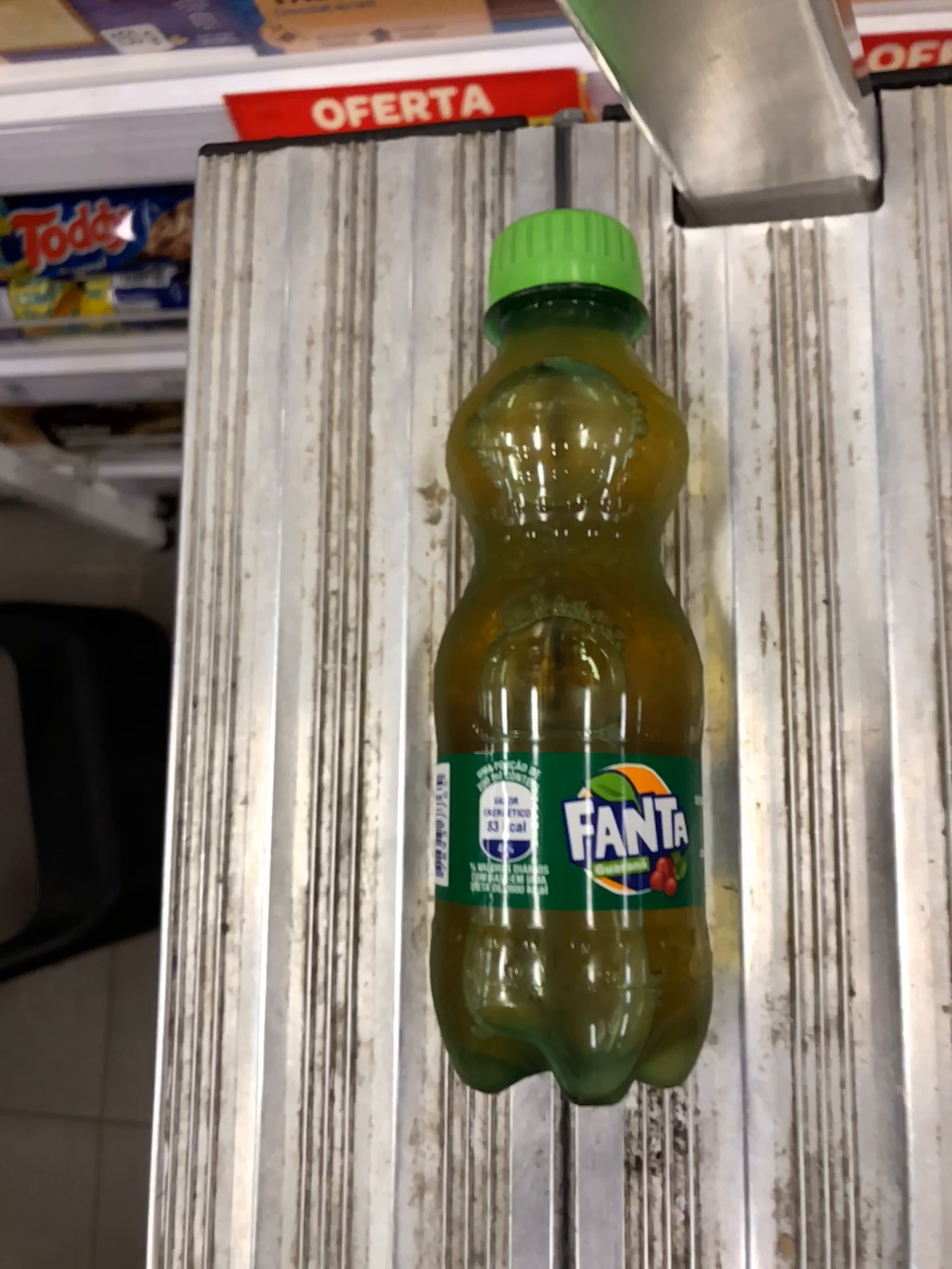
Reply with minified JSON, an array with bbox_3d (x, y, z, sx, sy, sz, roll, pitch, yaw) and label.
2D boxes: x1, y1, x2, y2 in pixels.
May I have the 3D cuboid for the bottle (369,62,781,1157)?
[{"bbox_3d":[0.019,-0.005,0.197,0.050,0.050,0.170,-11,73,55],"label":"bottle"}]
